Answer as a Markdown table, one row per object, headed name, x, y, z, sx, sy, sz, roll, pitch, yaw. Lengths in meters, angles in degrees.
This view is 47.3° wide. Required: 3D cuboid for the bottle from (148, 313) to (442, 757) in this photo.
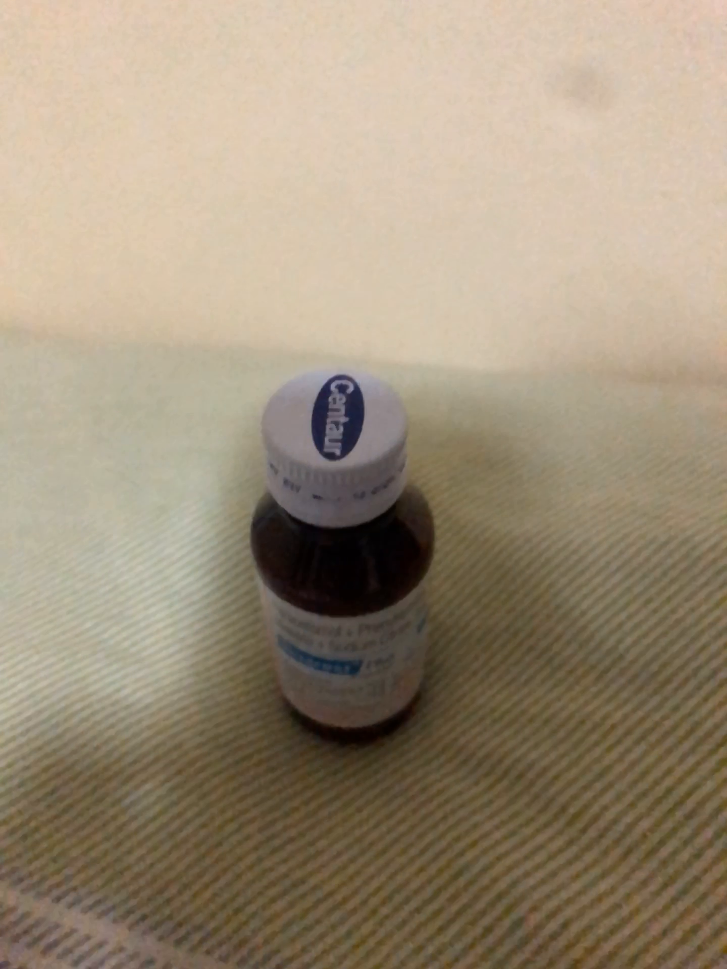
| name | x | y | z | sx | sy | sz | roll | pitch | yaw |
| --- | --- | --- | --- | --- | --- | --- | --- | --- | --- |
| bottle | -0.007 | 0.017 | 0.183 | 0.040 | 0.100 | 0.037 | -3 | 50 | 3 |
